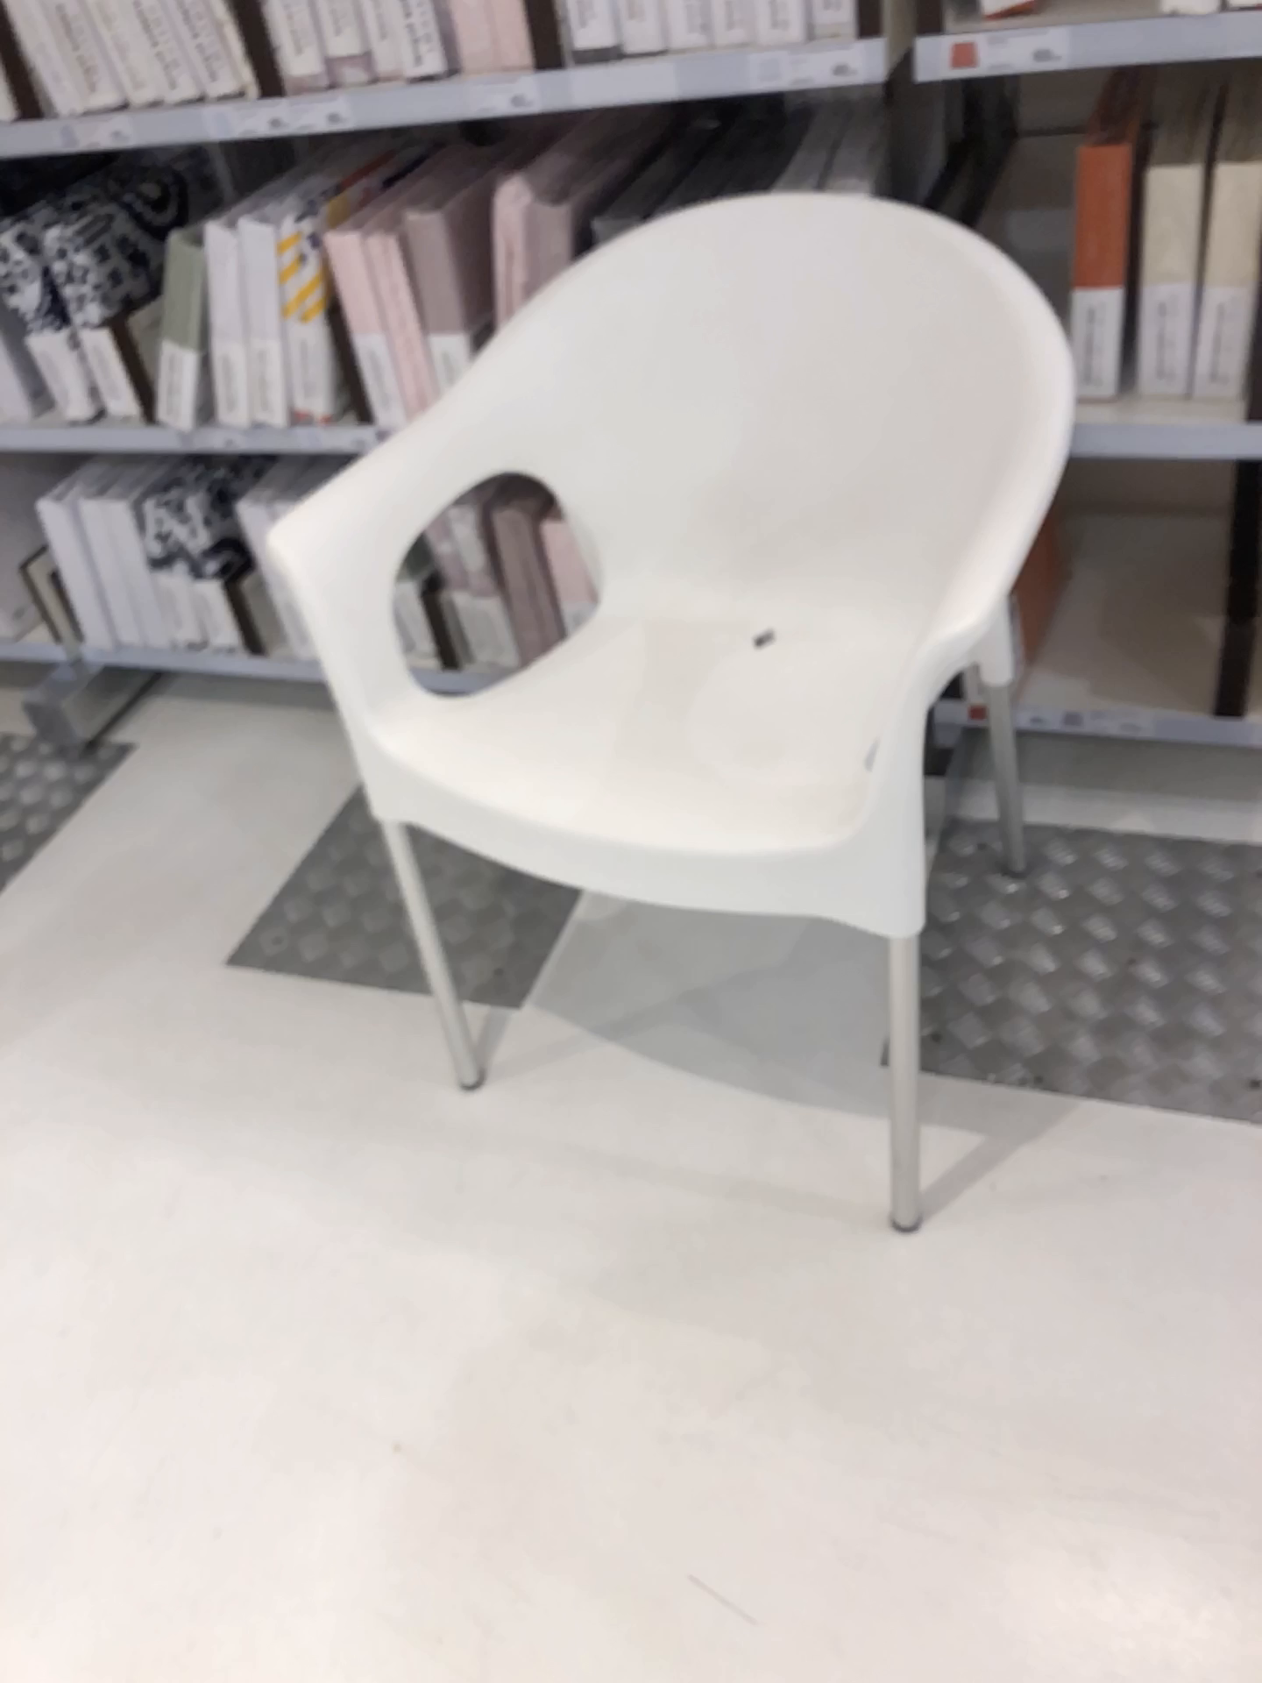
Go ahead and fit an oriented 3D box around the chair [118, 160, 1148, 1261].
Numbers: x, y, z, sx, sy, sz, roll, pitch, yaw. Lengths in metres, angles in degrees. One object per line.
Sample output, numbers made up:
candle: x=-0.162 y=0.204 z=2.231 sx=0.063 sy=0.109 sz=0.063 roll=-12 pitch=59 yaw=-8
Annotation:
chair: x=0.075 y=-0.143 z=1.270 sx=0.591 sy=0.705 sz=0.553 roll=12 pitch=45 yaw=27
